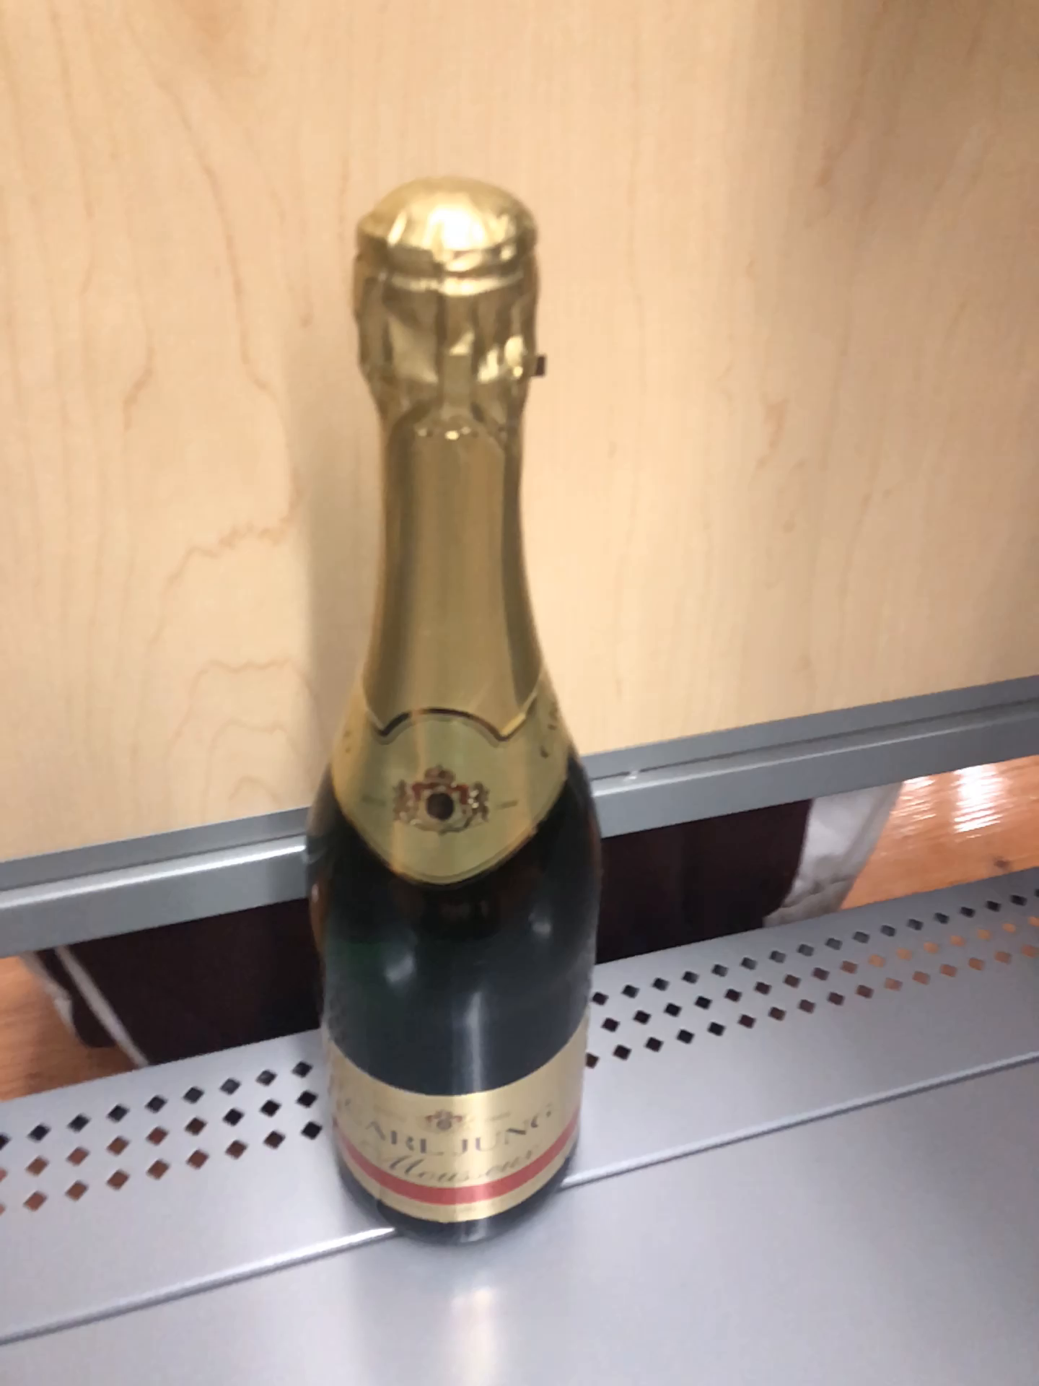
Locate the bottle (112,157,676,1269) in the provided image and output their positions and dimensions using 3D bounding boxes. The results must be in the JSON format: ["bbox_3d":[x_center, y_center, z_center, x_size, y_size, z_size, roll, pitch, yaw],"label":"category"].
[{"bbox_3d":[-0.020,0.027,0.311,0.090,0.298,0.091,1,36,-1],"label":"bottle"}]
